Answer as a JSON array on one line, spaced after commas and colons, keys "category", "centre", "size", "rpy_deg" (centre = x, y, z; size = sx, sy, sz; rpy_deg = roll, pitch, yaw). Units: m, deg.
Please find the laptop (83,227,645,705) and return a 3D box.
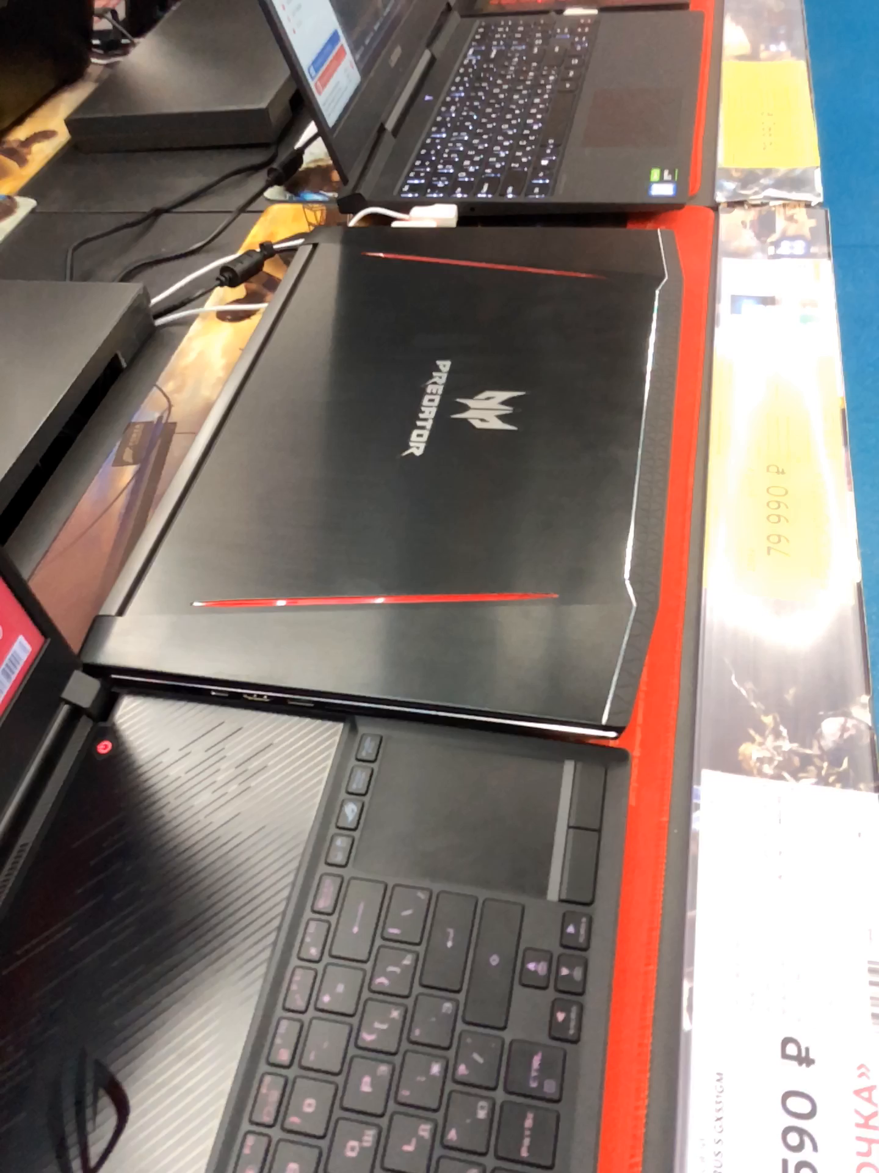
[{"category": "laptop", "centre": [-0.013, -0.102, 0.532], "size": [0.228, 0.004, 0.379], "rpy_deg": [5, 49, 12]}]
